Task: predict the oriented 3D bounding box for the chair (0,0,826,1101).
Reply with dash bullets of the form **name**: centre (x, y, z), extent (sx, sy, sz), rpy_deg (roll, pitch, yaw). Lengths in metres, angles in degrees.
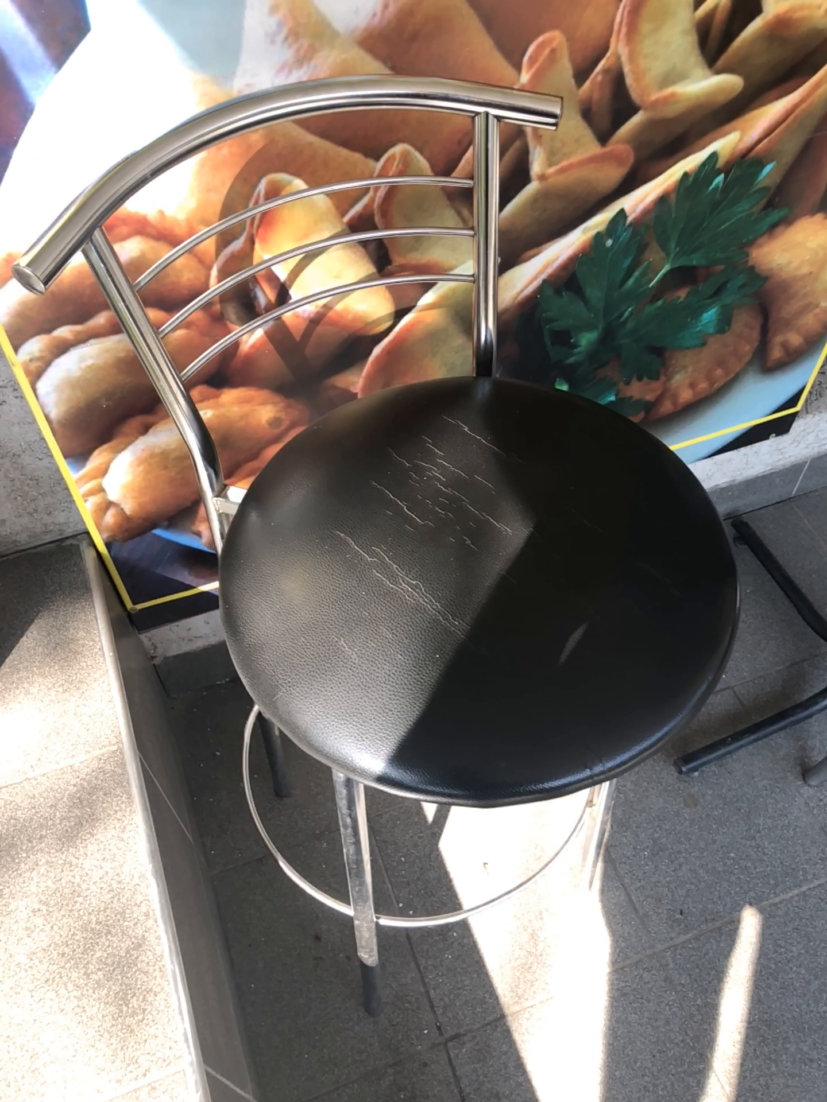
- **chair**: centre (0.014, 0.112, 0.882), extent (0.480, 0.937, 0.481), rpy_deg (-24, 57, -17)
